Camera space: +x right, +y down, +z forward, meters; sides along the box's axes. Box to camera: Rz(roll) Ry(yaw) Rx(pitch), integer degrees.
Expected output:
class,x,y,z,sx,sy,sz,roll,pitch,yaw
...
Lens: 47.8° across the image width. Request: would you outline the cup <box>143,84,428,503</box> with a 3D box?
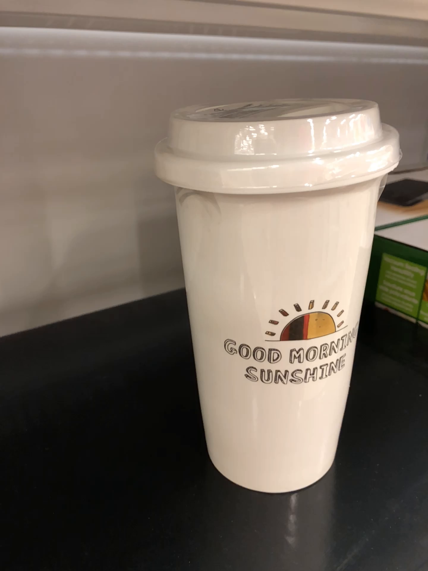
class,x,y,z,sx,sy,sz,roll,pitch,yaw
cup,0.034,-0.005,0.213,0.100,0.149,0.100,1,24,0
